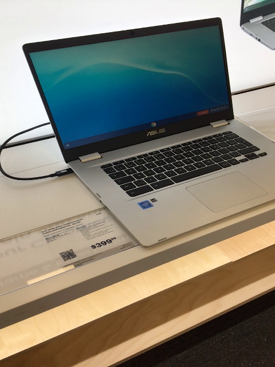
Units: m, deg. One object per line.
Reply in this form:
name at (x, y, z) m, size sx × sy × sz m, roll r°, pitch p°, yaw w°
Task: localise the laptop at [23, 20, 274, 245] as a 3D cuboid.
laptop at (0.079, -0.115, 0.617) m, size 0.371 × 0.198 × 0.328 m, roll -21°, pitch 49°, yaw -23°
